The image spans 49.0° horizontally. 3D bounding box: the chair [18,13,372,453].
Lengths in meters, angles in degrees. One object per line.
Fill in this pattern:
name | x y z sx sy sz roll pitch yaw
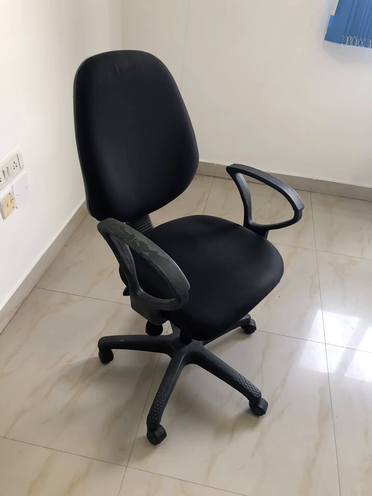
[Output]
chair | 0.092 -0.099 1.189 0.671 0.884 0.683 27 43 26
